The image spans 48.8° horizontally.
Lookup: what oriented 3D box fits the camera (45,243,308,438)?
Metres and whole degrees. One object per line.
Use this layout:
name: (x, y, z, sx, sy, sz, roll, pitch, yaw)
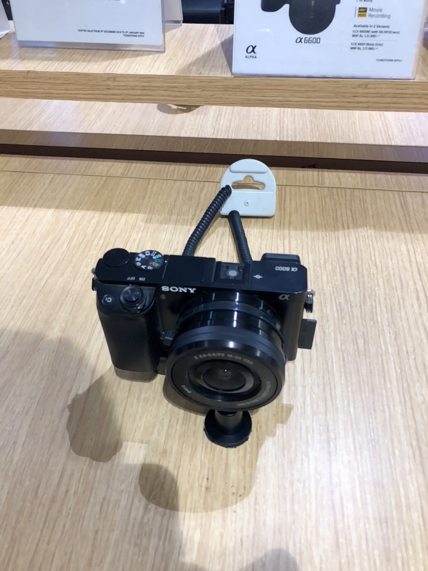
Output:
camera: (-0.013, 0.027, 0.236, 0.107, 0.070, 0.059, 3, 45, 4)
